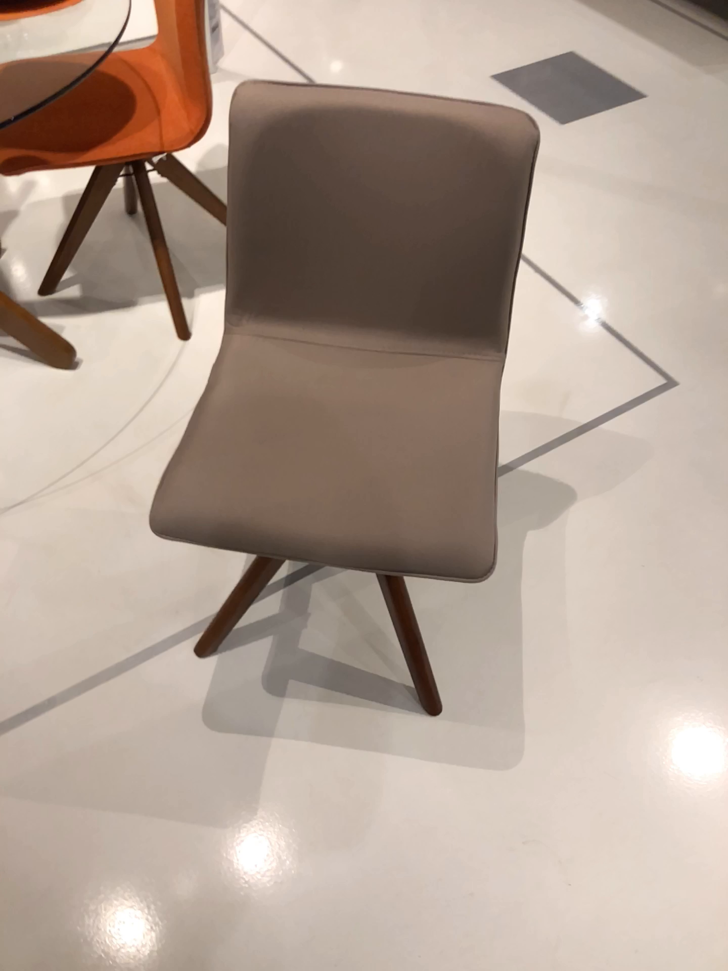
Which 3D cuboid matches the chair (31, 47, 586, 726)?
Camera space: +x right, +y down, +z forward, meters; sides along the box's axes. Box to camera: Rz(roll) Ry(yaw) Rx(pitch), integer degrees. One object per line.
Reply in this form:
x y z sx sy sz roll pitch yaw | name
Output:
-0.026 -0.090 1.182 0.500 0.805 0.513 8 51 5 | chair
